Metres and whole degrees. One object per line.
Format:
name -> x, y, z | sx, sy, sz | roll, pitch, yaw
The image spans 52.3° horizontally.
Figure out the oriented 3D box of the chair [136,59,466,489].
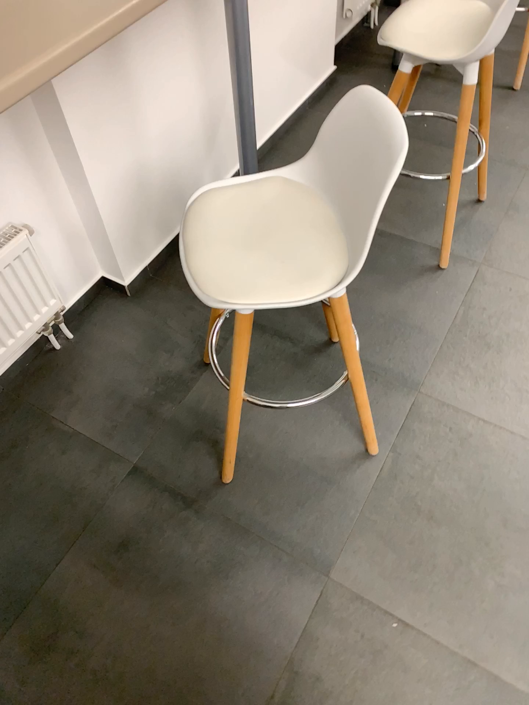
chair -> 0.044, -0.108, 1.301 | 0.480, 0.887, 0.482 | -10, 55, -4
